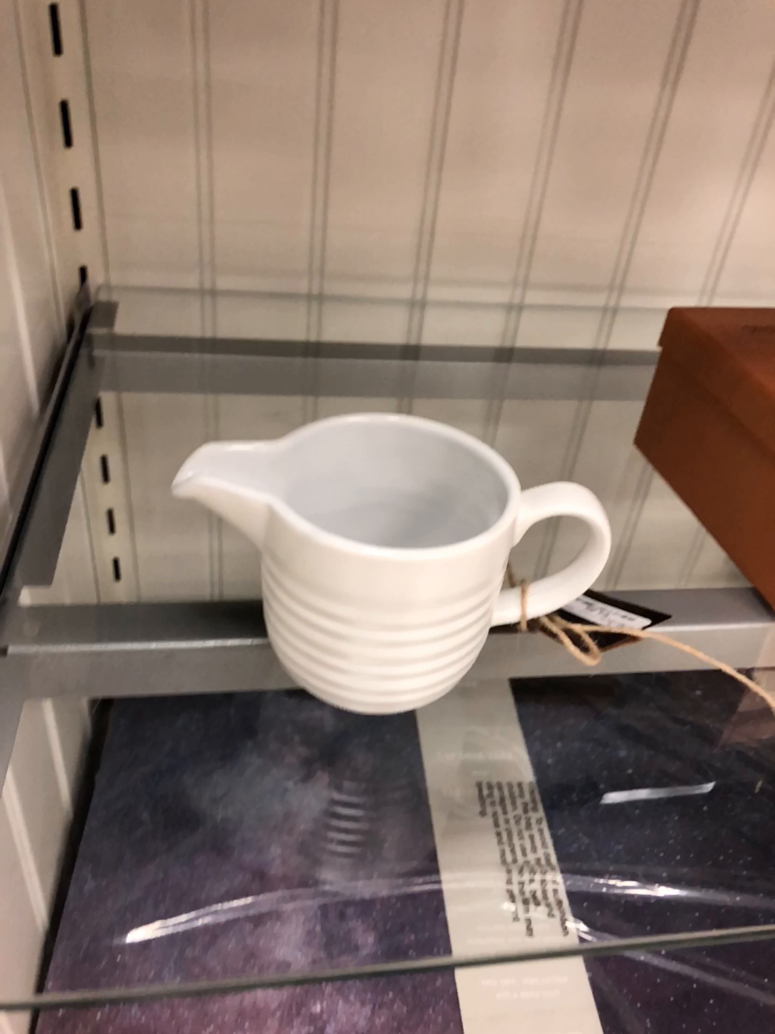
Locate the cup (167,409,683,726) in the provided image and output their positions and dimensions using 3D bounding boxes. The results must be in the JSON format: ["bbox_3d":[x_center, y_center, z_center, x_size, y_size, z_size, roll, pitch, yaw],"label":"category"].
[{"bbox_3d":[0.006,0.016,0.278,0.140,0.069,0.071,1,37,-8],"label":"cup"}]
